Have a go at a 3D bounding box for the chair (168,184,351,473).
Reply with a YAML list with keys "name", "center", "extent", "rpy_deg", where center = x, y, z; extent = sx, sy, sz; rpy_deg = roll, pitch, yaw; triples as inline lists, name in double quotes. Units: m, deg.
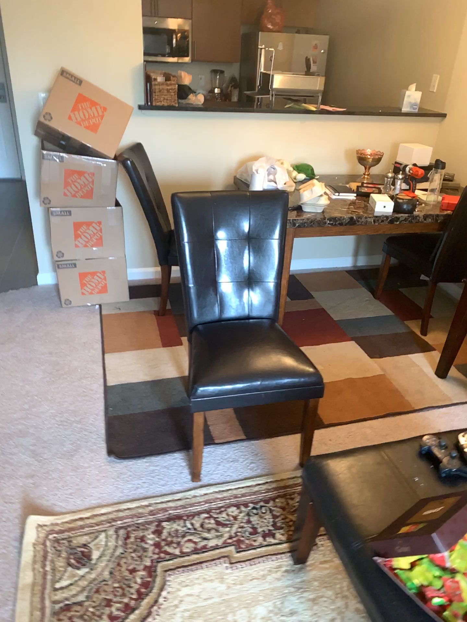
- name: "chair"
  center: [0.026, 0.035, 1.900]
  extent: [0.490, 0.915, 0.654]
  rpy_deg: [-4, 29, -13]
